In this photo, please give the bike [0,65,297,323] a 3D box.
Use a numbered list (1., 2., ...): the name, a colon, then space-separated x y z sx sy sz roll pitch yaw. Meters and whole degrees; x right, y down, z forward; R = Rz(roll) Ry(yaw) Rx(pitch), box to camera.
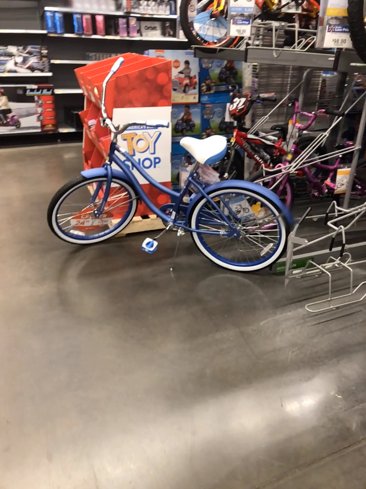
1. bike: -0.151 -0.349 2.207 1.354 1.114 0.860 5 26 11
